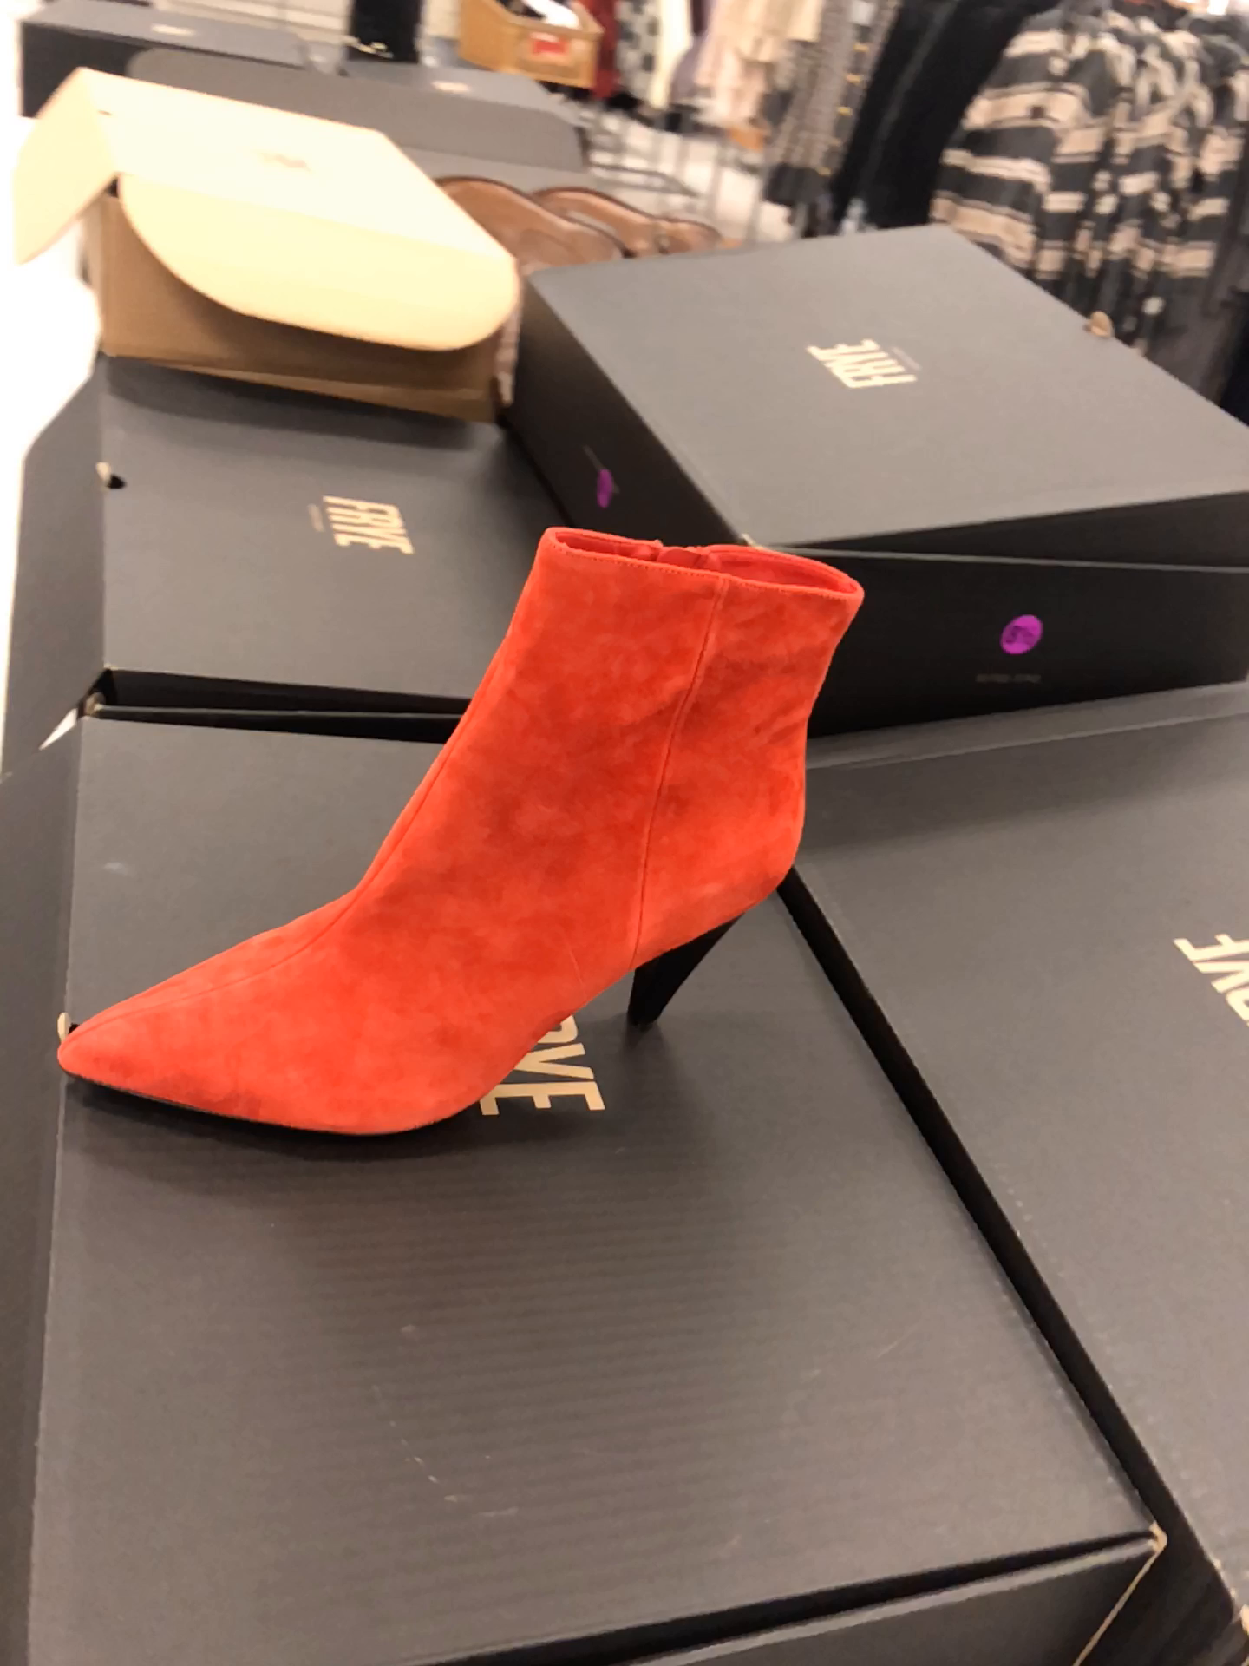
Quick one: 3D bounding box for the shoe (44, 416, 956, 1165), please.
[{"bbox_3d":[-0.054,-0.005,0.484,0.261,0.210,0.101,2,33,-26],"label":"shoe"}]
